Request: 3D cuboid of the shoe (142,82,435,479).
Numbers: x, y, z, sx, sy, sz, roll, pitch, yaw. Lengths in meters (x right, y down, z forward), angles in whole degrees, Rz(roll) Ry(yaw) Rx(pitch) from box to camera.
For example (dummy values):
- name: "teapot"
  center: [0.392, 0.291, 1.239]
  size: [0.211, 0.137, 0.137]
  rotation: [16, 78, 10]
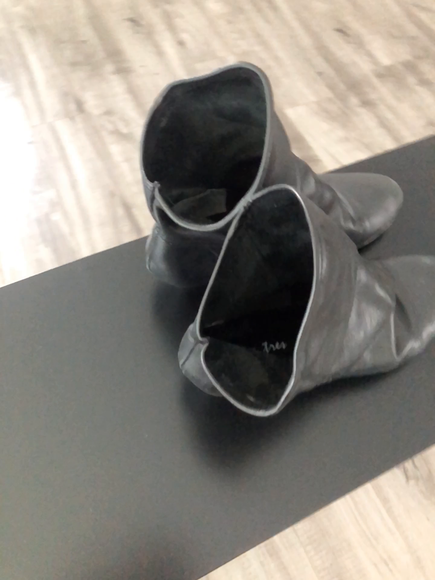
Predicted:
- name: "shoe"
  center: [0.093, 0.001, 0.310]
  size: [0.250, 0.170, 0.101]
  rotation: [-22, 64, -17]

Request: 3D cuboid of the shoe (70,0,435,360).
- name: "shoe"
  center: [0.051, -0.076, 0.352]
  size: [0.260, 0.170, 0.101]
  rotation: [-22, 64, -17]
